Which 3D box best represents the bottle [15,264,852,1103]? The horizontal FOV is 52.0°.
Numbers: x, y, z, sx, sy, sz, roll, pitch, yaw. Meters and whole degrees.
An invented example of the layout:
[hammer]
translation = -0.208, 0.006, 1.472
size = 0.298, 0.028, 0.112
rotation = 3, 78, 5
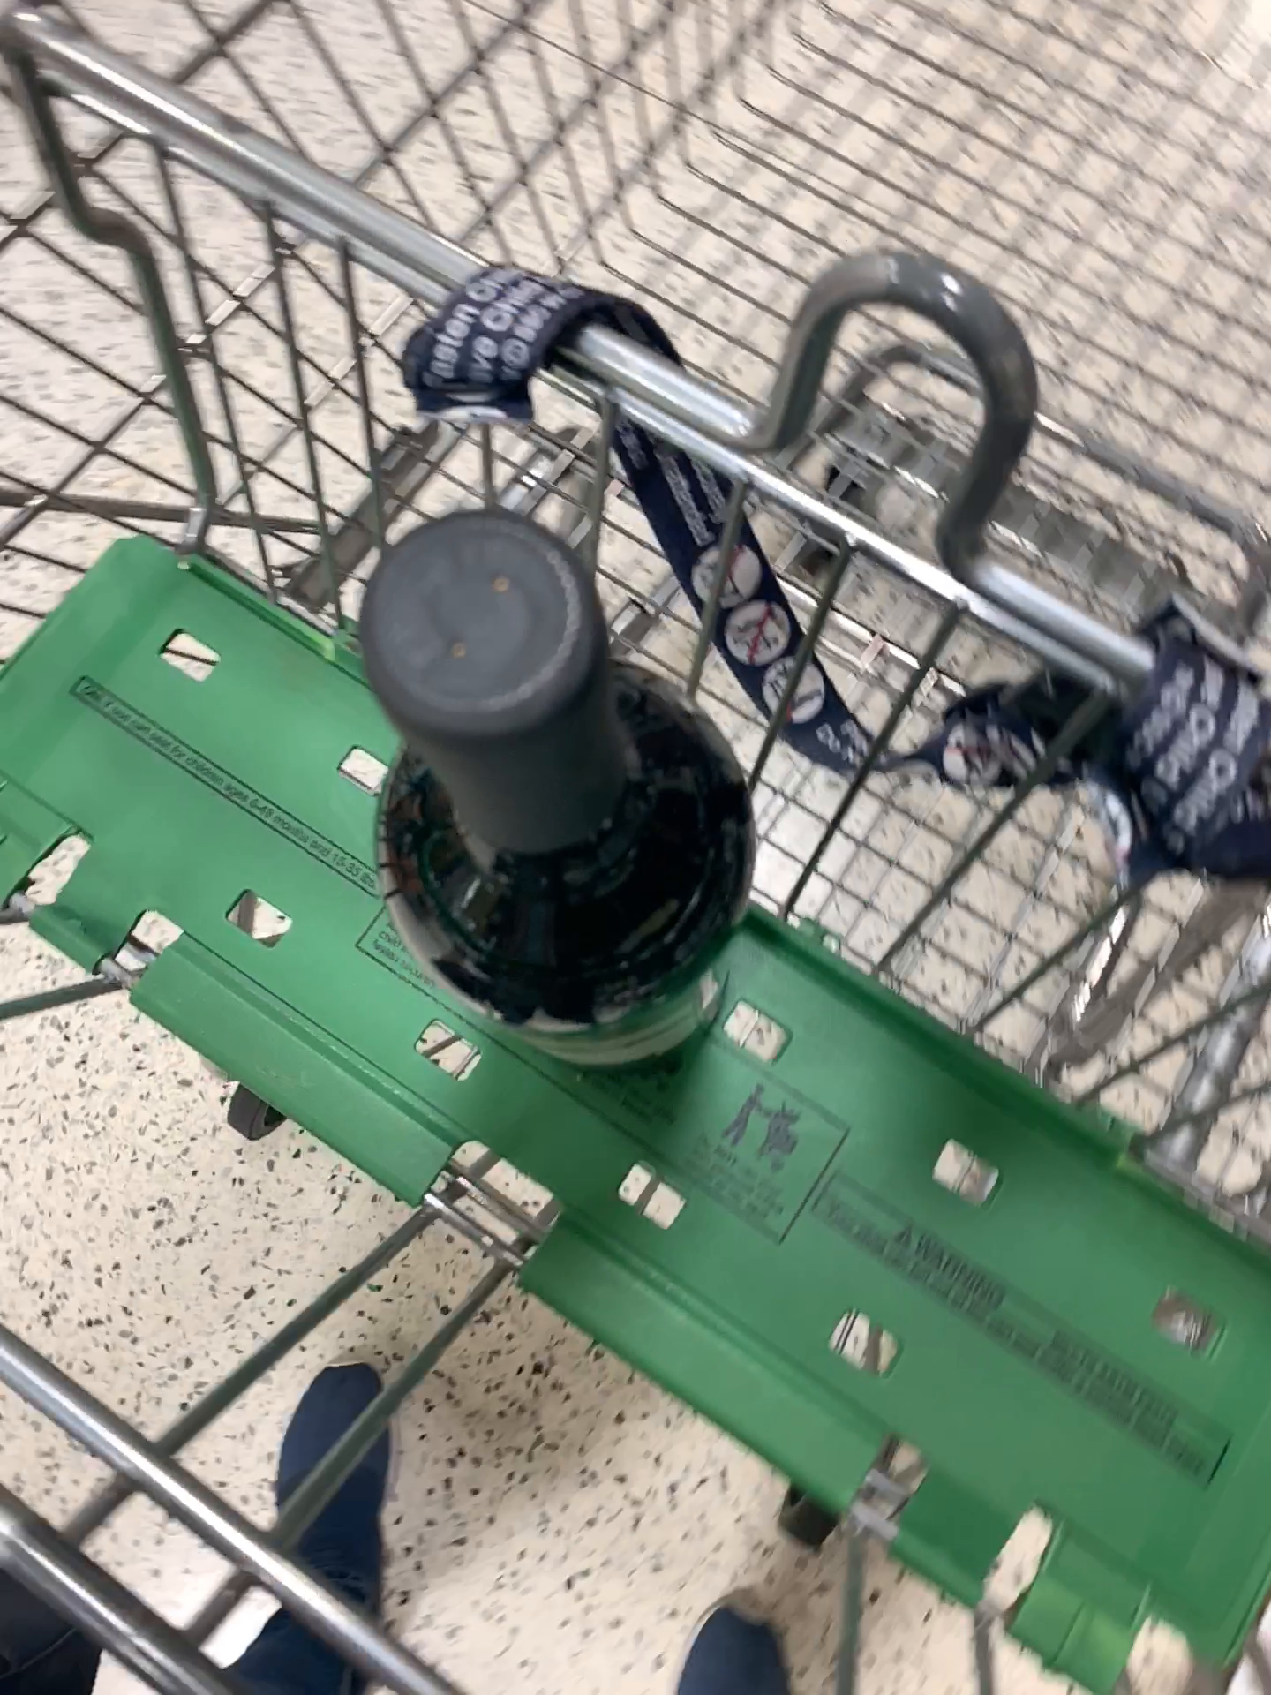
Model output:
[bottle]
translation = -0.015, 0.005, 0.278
size = 0.080, 0.279, 0.075
rotation = 0, 76, 2
